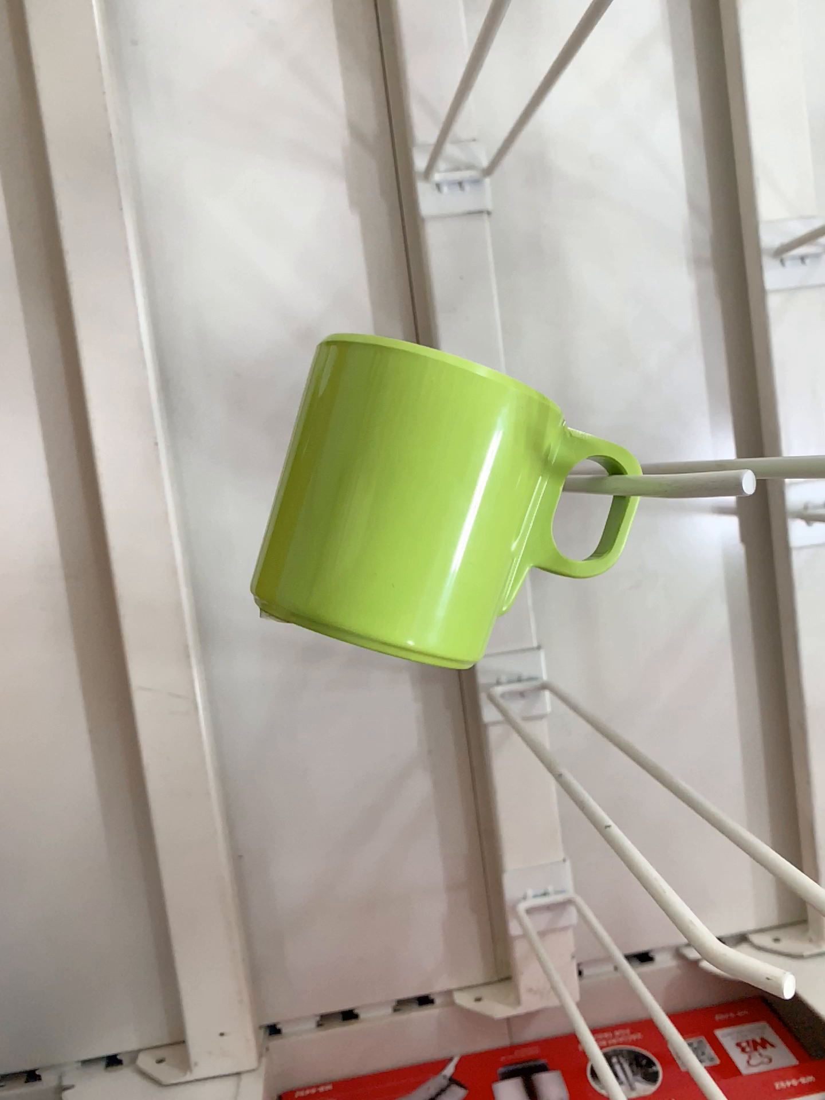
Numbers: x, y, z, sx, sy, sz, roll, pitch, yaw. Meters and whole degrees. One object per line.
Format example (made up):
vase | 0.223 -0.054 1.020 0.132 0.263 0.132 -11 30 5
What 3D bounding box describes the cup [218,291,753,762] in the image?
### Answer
cup | 0.011 -0.007 0.252 0.100 0.110 0.080 -154 -97 -77
